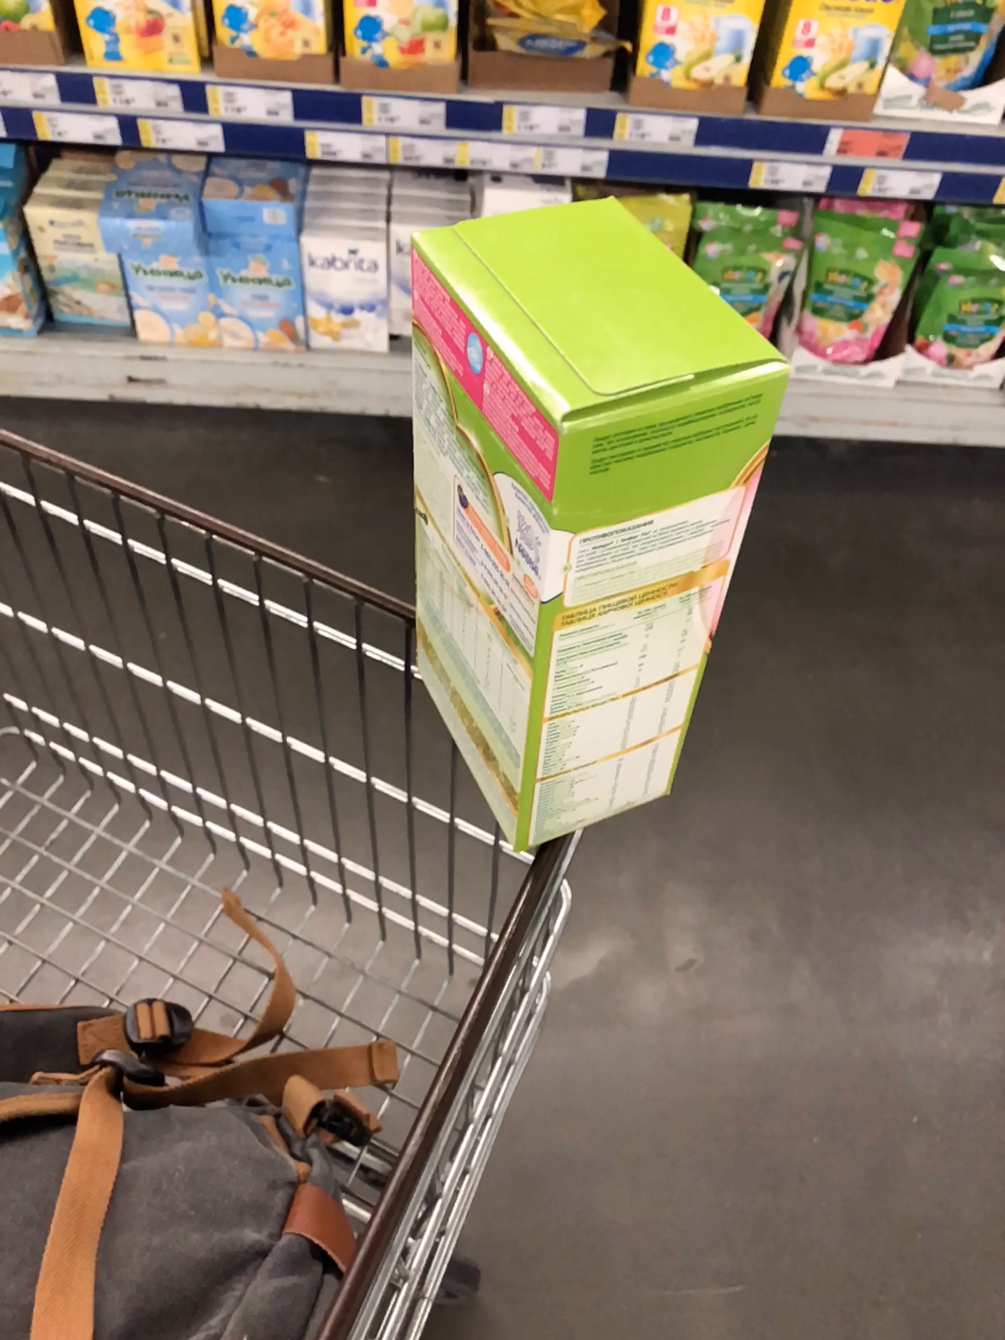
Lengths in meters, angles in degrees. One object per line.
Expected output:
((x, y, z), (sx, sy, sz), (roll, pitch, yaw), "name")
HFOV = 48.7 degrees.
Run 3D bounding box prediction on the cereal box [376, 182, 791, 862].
((0.014, -0.039, 0.364), (0.070, 0.189, 0.100), (-19, 53, -19), "cereal box")
